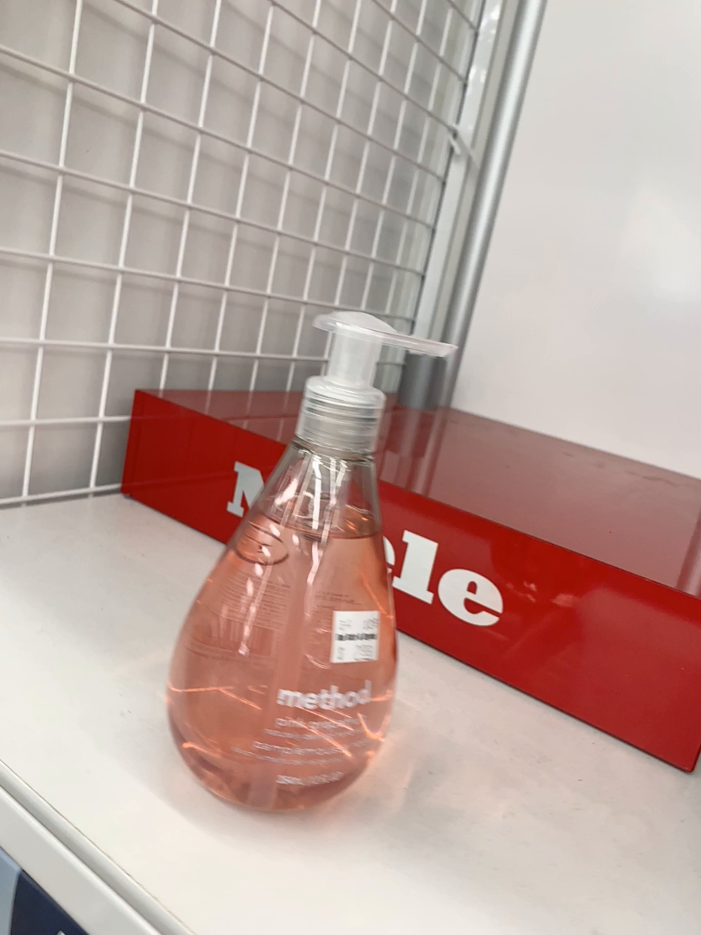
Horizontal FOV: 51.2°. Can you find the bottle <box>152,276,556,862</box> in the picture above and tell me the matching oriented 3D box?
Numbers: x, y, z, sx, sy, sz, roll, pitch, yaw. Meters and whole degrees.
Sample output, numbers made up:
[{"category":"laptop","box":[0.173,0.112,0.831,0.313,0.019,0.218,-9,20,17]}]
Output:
[{"category":"bottle","box":[-0.009,0.028,0.241,0.080,0.160,0.078,11,13,-3]}]
